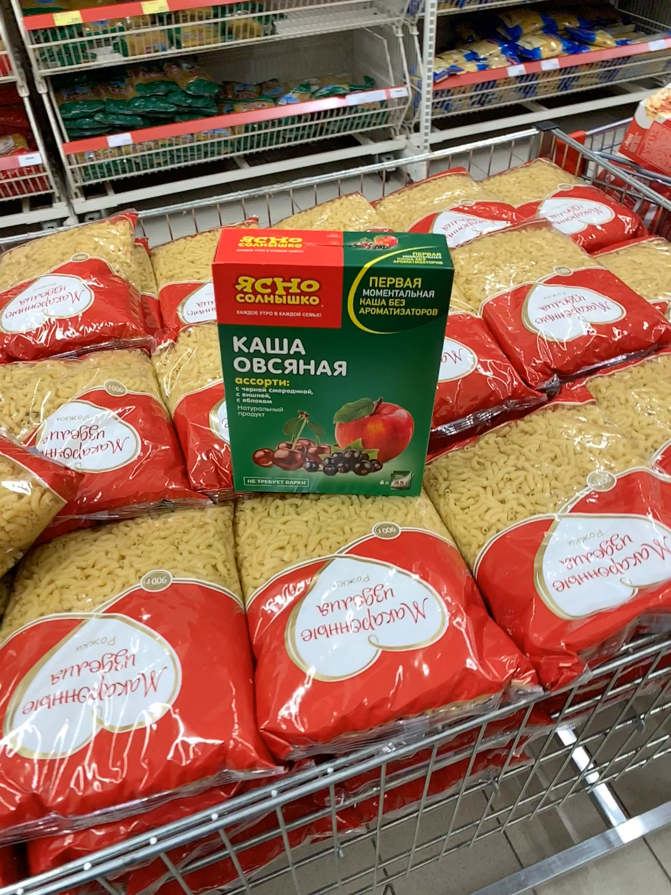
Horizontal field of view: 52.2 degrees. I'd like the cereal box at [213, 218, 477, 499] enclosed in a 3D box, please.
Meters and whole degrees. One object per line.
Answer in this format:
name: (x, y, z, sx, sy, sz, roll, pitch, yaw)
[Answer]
cereal box: (0.004, -0.057, 0.503, 0.160, 0.198, 0.061, 2, 40, 0)
